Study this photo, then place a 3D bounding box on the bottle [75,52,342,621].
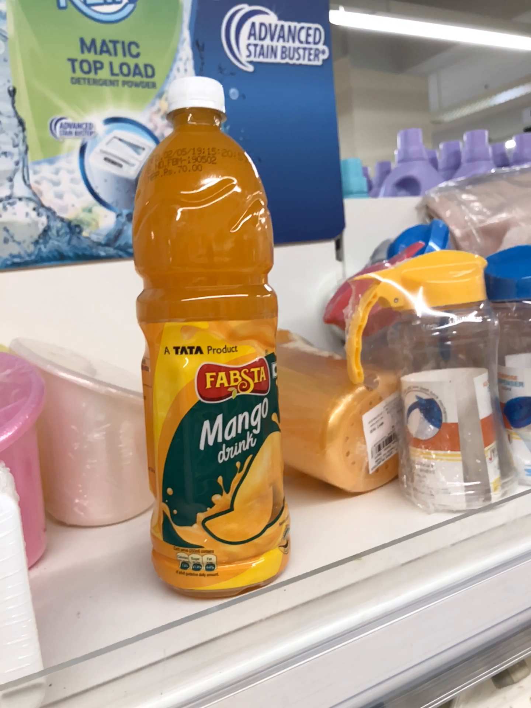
[{"bbox_3d":[-0.030,-0.010,0.325,0.090,0.259,0.080,-10,8,-31],"label":"bottle"}]
